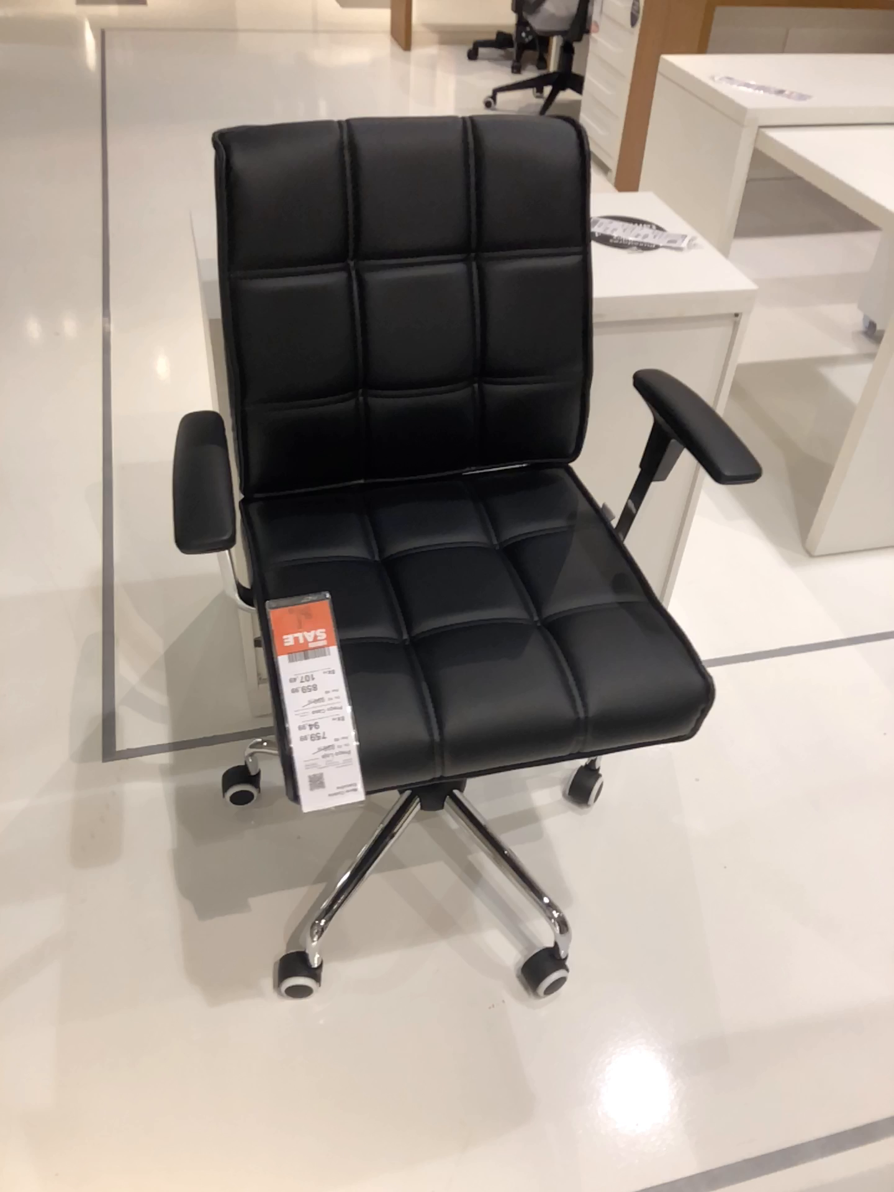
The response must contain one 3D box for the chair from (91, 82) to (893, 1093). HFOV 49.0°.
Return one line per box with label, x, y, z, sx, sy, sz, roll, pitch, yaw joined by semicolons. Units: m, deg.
chair;-0.020;-0.036;1.228;0.621;0.913;0.745;-10;43;-15
